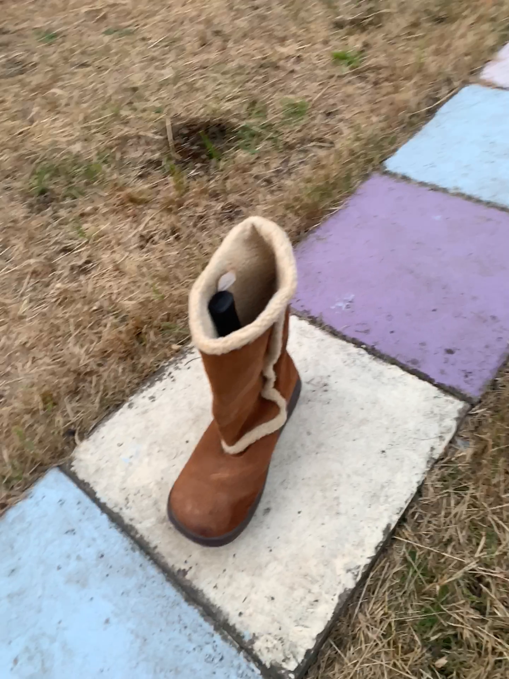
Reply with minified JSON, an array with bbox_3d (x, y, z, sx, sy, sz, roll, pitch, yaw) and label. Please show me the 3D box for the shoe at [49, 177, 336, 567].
[{"bbox_3d":[-0.024,0.042,0.537,0.110,0.297,0.262,21,56,22],"label":"shoe"}]
